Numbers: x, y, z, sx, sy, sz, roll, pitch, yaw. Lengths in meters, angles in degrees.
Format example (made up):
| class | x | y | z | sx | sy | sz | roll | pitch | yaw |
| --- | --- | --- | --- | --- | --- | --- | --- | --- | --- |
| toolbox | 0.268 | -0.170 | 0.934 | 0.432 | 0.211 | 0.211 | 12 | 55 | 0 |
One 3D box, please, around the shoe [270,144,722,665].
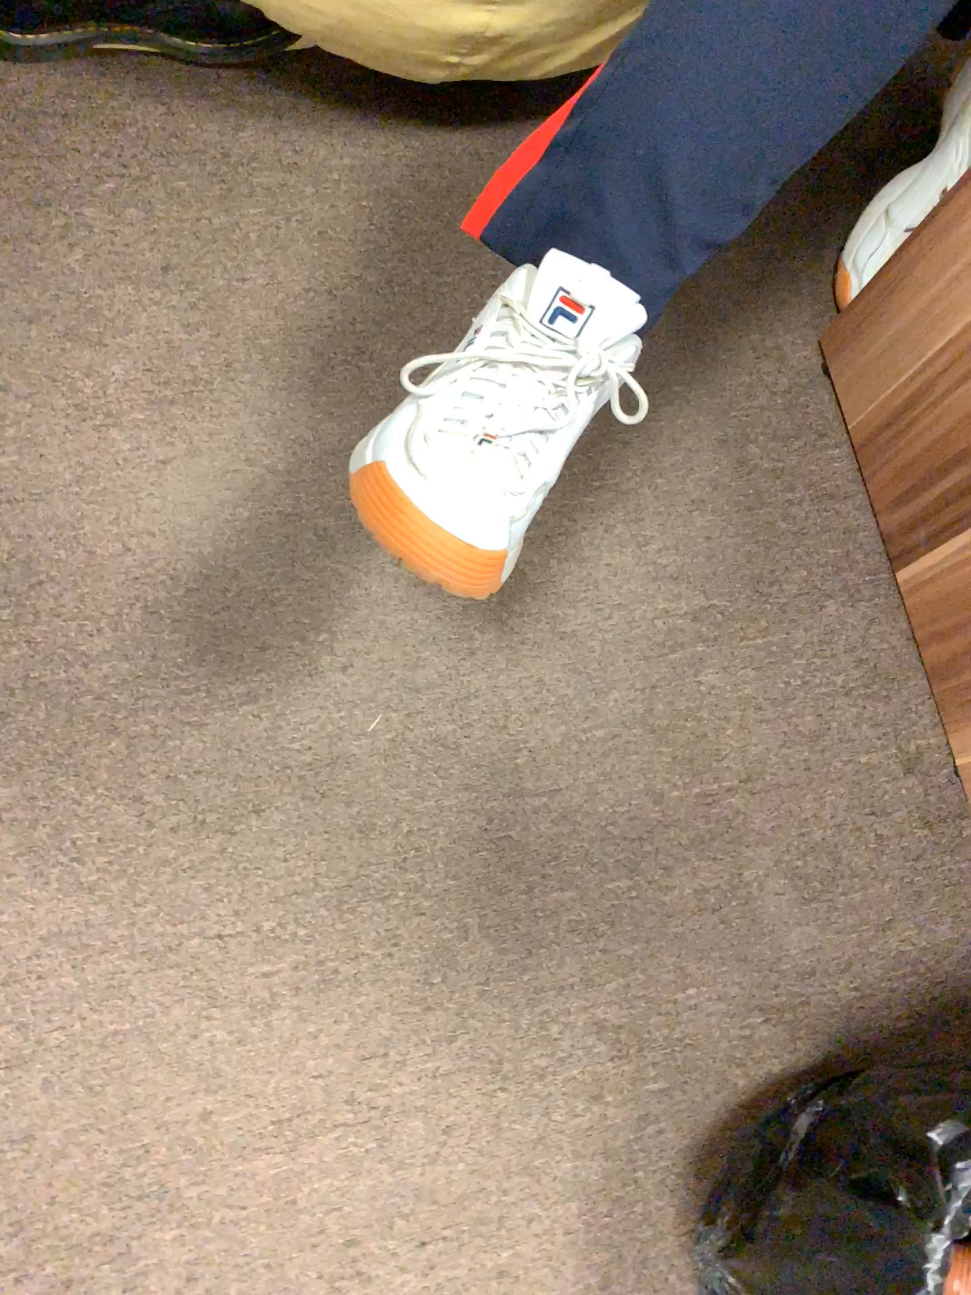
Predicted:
| class | x | y | z | sx | sy | sz | roll | pitch | yaw |
| --- | --- | --- | --- | --- | --- | --- | --- | --- | --- |
| shoe | 0.015 | -0.136 | 0.530 | 0.130 | 0.130 | 0.230 | 34 | 47 | -8 |
